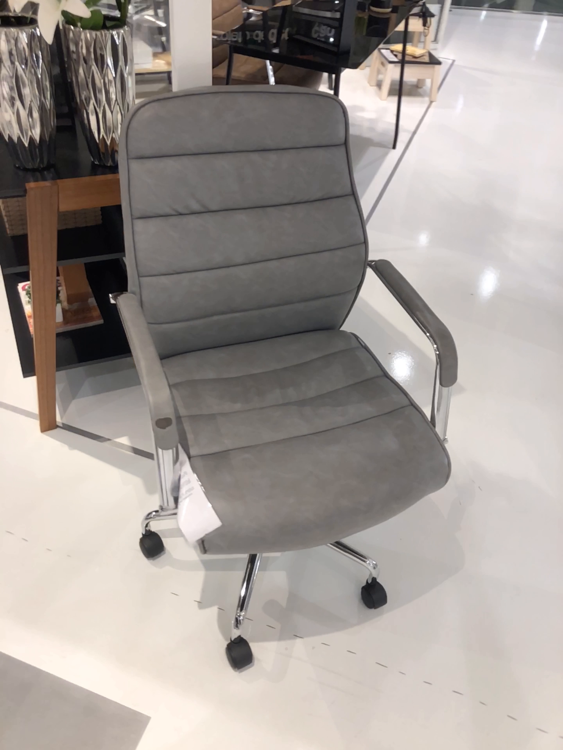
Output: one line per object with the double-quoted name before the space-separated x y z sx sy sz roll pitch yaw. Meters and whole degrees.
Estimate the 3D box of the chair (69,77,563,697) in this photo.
"chair" 0.005 0.051 1.186 0.601 0.993 0.553 -10 45 -17
